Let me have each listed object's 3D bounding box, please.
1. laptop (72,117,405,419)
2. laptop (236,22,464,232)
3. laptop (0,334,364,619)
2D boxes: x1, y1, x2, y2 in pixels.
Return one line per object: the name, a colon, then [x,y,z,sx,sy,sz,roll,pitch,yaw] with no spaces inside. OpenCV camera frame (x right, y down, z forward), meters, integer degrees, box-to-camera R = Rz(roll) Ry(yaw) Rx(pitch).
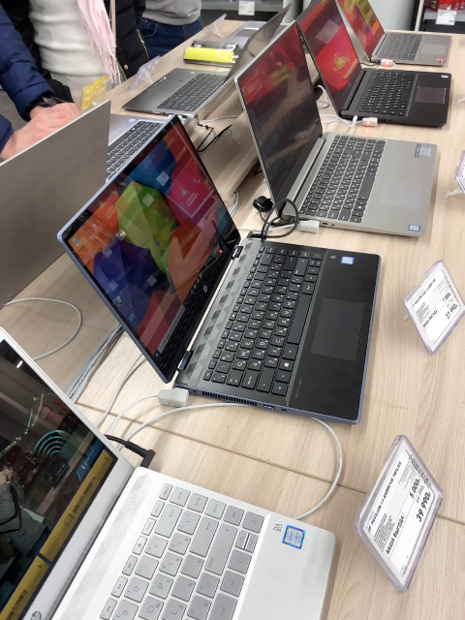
laptop: [0.034,-0.080,0.683,0.326,0.194,0.327,11,43,12]
laptop: [0.225,-0.362,0.962,0.329,0.218,0.353,13,44,14]
laptop: [-0.100,0.207,0.374,0.323,0.171,0.294,12,41,12]
